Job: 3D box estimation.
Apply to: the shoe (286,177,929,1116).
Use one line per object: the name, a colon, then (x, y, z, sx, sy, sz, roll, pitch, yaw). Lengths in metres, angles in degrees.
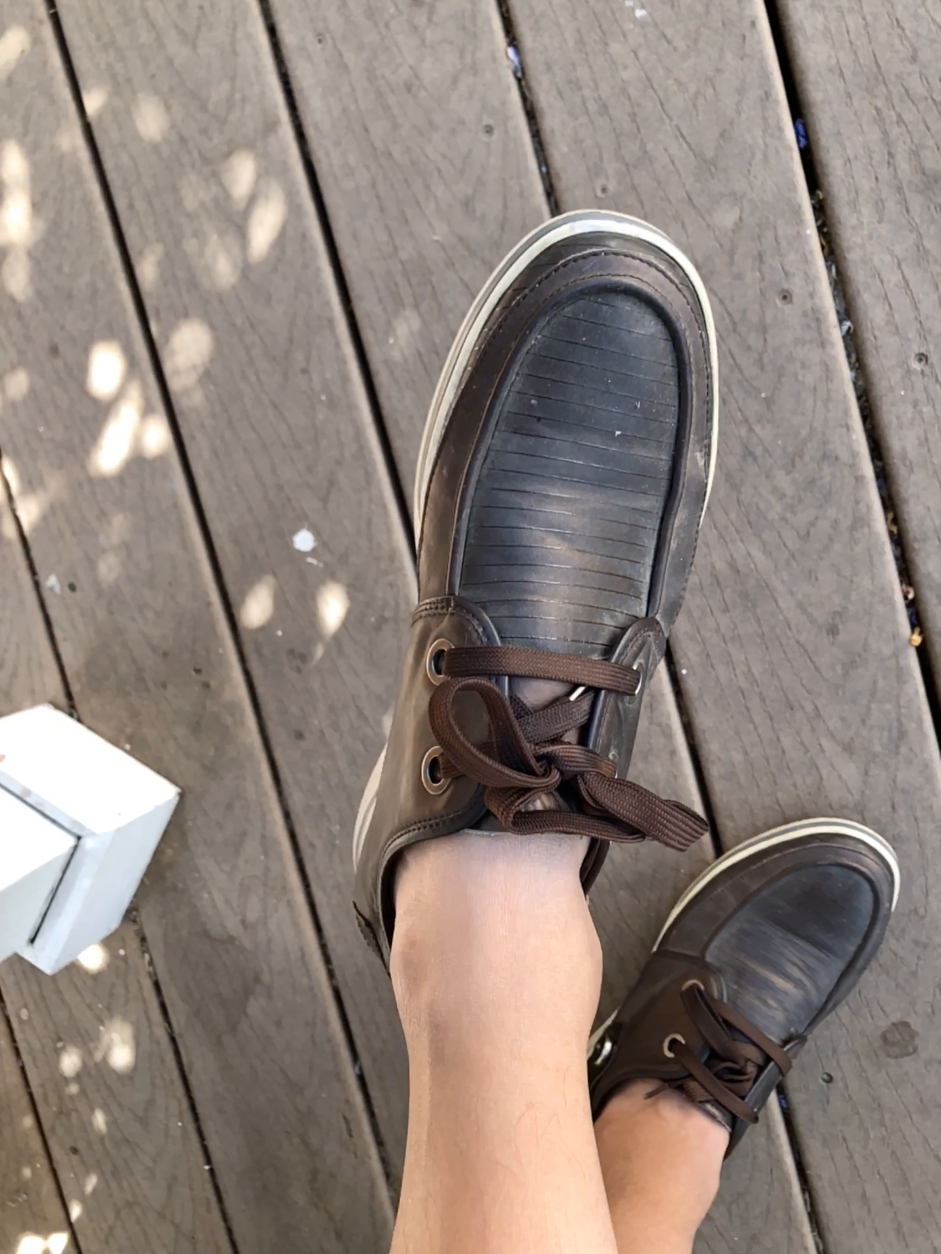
shoe: (0.024, 0.015, 0.363, 0.118, 0.104, 0.295, 11, 114, -7)
